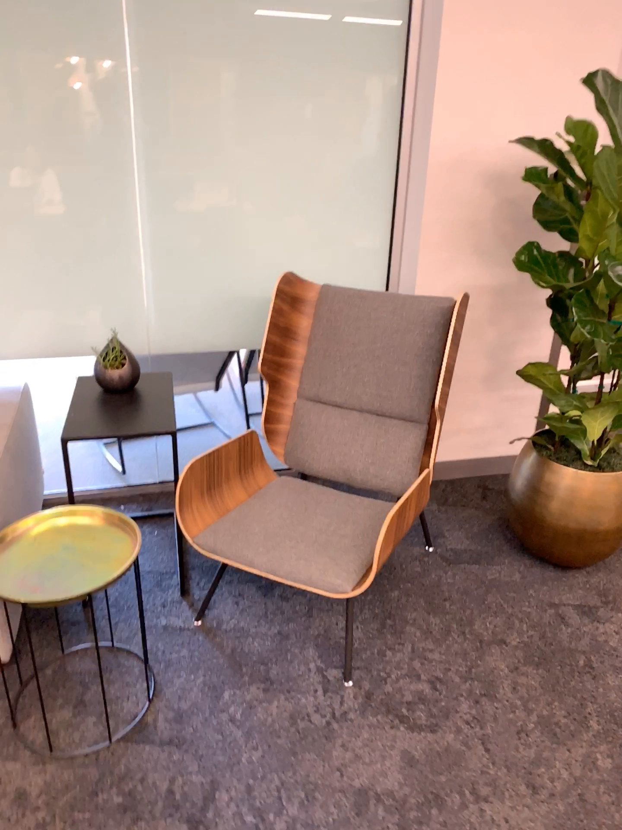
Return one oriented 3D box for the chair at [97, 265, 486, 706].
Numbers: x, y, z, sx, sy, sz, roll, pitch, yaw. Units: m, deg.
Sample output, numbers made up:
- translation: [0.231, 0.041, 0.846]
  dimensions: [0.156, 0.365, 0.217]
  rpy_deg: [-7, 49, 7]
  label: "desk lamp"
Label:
- translation: [-0.006, 0.116, 2.156]
  dimensions: [0.881, 0.995, 0.934]
  rpy_deg: [12, 26, 22]
  label: "chair"
